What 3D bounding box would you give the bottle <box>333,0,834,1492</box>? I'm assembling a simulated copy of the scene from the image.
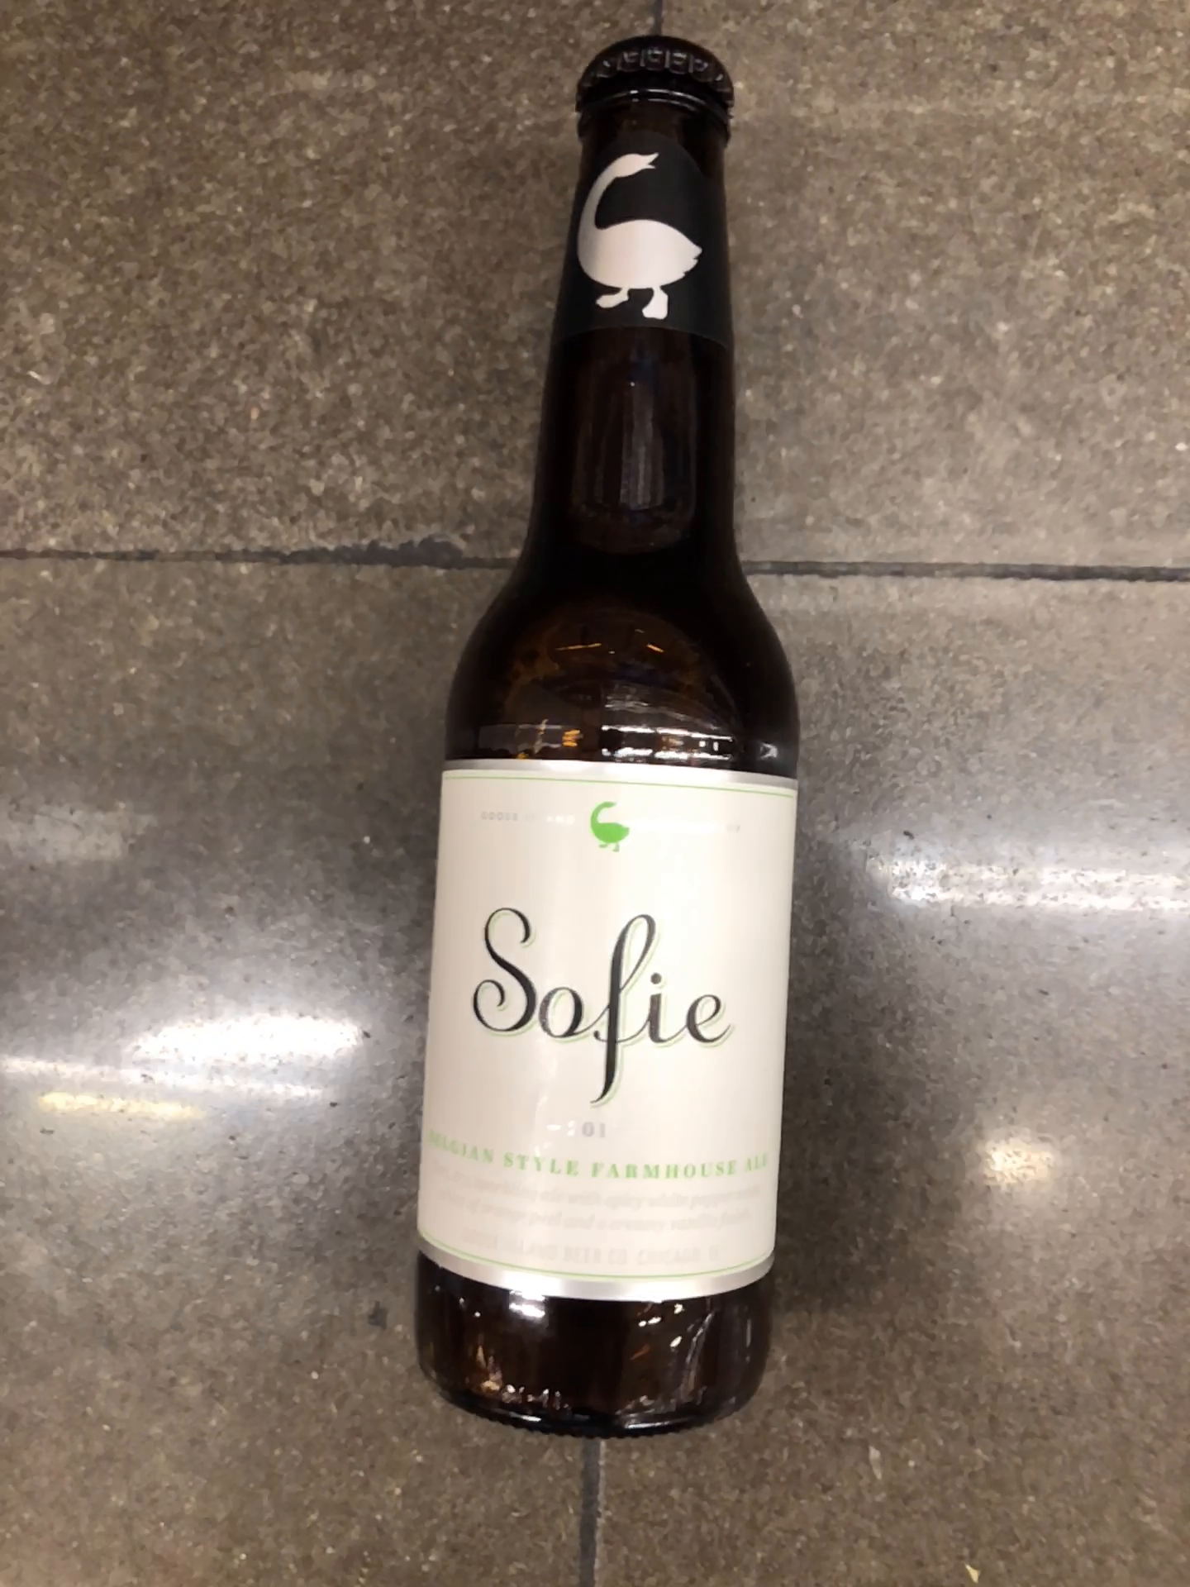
[{"bbox_3d":[0.001,-0.019,0.224,0.070,0.040,0.240,1,87,9],"label":"bottle"}]
